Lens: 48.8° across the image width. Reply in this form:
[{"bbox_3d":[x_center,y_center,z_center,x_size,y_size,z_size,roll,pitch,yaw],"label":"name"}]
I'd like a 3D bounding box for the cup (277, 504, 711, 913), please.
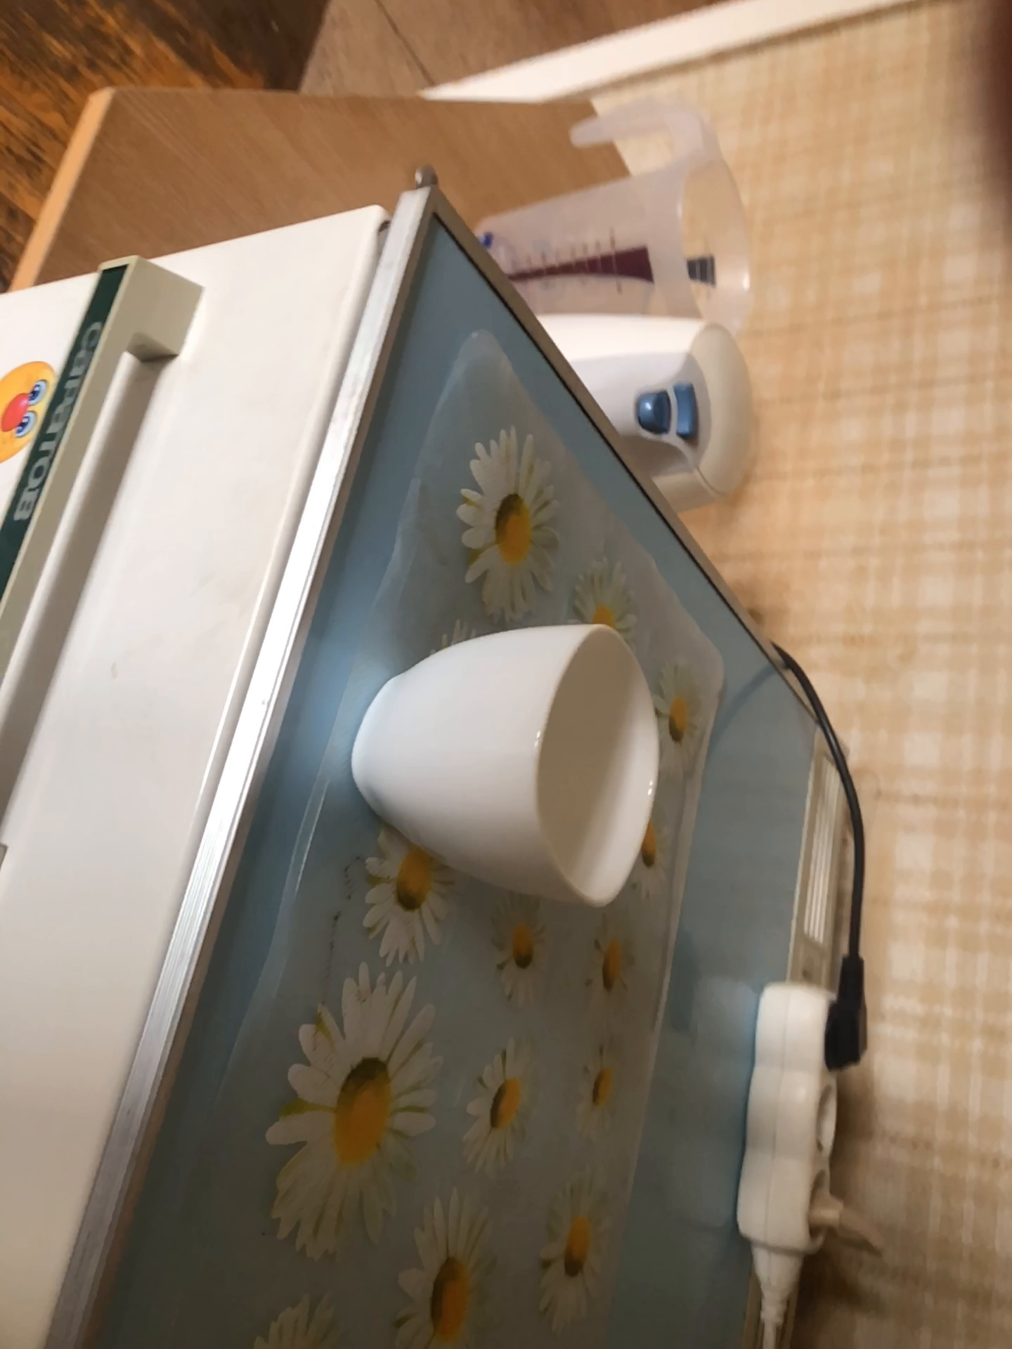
[{"bbox_3d":[0.003,0.015,0.323,0.103,0.070,0.085,34,61,-54],"label":"cup"}]
